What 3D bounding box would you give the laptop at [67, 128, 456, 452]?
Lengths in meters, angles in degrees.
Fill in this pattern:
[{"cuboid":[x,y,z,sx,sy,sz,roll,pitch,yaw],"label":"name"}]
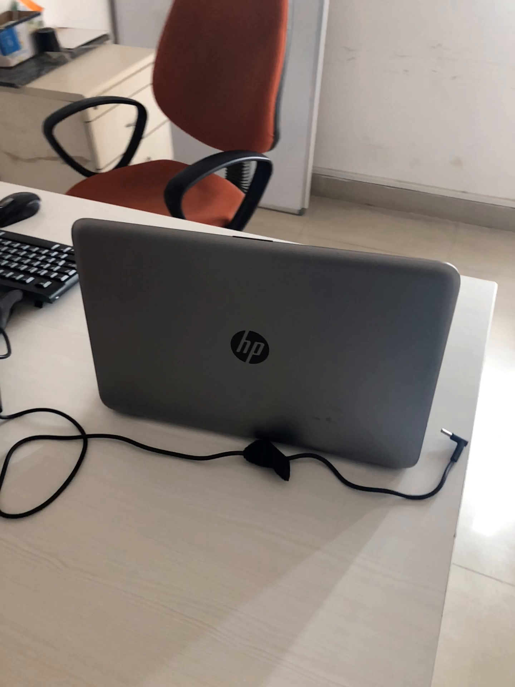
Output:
[{"cuboid":[0.016,-0.071,0.648,0.351,0.226,0.217,10,47,14],"label":"laptop"}]
